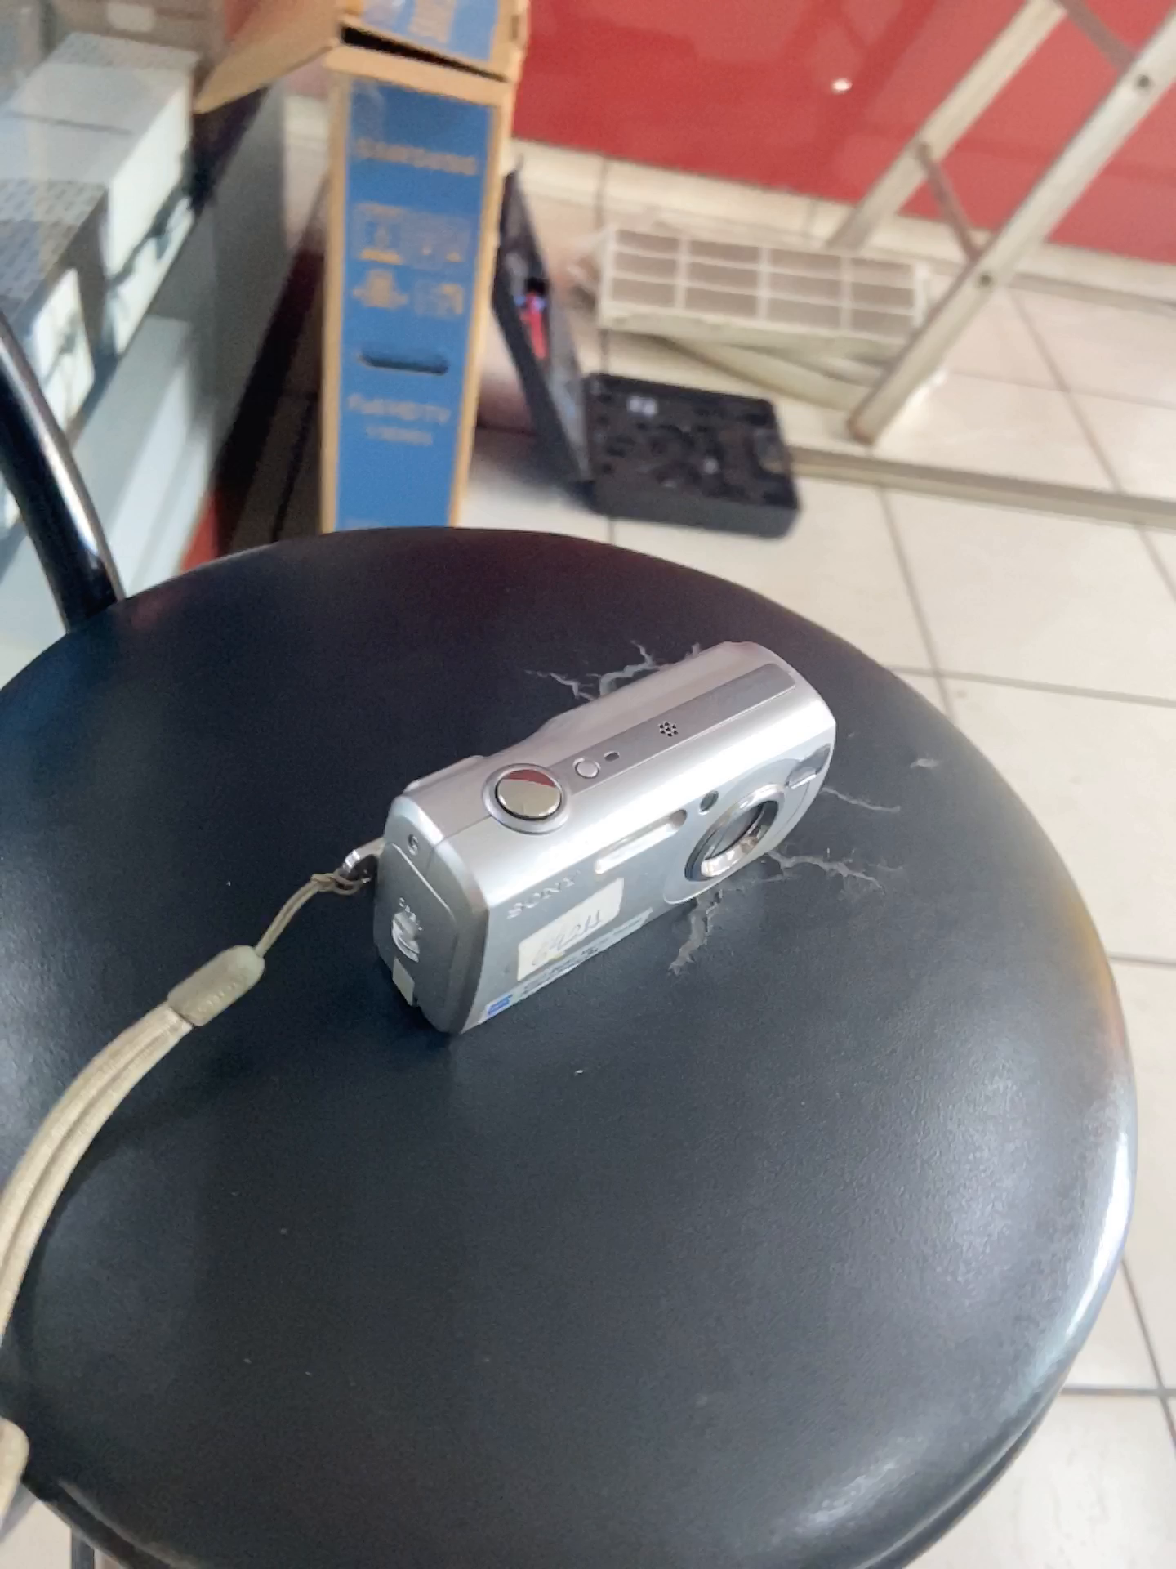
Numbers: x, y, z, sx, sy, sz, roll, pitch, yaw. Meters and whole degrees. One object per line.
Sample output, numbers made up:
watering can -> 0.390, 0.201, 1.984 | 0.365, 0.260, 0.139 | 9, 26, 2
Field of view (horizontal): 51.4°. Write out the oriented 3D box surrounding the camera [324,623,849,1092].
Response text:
camera -> 0.000, 0.012, 0.256 | 0.100, 0.050, 0.040 | -26, 57, -33
